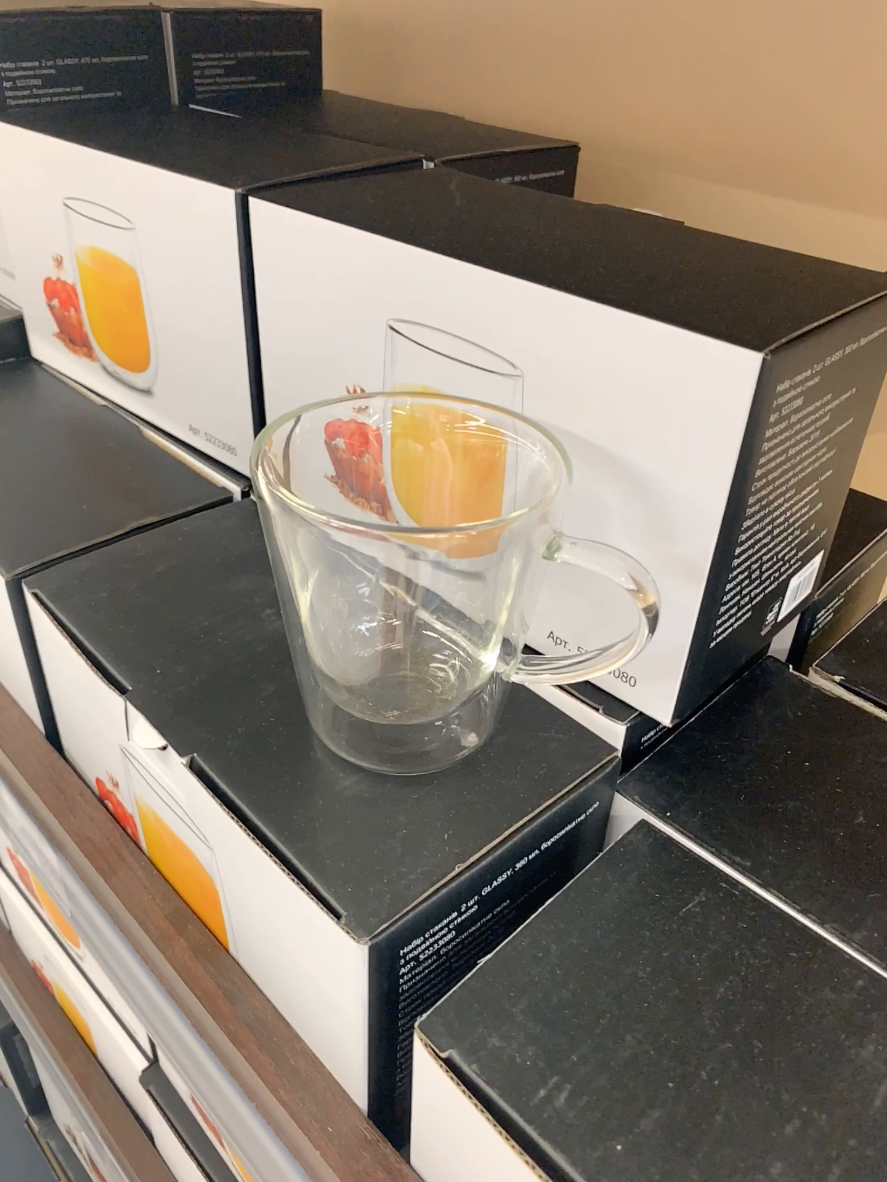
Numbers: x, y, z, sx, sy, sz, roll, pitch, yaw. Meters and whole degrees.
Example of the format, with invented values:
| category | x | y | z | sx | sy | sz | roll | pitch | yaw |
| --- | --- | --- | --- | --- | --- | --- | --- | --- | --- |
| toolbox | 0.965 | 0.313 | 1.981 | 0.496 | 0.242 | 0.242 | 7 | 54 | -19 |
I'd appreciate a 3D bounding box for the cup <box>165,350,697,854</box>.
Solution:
| category | x | y | z | sx | sy | sz | roll | pitch | yaw |
| --- | --- | --- | --- | --- | --- | --- | --- | --- | --- |
| cup | 0.001 | 0.000 | 0.239 | 0.110 | 0.090 | 0.070 | 10 | 36 | 9 |
